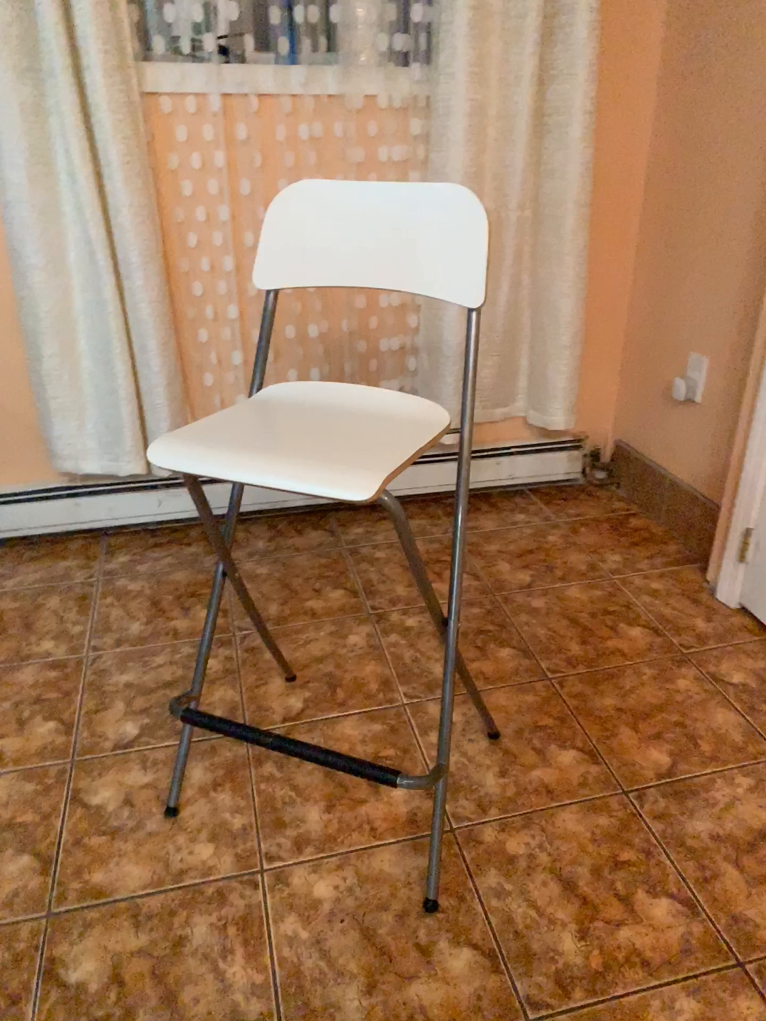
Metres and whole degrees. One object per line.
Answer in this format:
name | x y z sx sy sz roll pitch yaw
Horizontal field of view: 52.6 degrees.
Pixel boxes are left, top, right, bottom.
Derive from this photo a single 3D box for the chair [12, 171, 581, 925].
chair | -0.077 0.015 1.277 0.599 1.007 0.545 10 27 17
